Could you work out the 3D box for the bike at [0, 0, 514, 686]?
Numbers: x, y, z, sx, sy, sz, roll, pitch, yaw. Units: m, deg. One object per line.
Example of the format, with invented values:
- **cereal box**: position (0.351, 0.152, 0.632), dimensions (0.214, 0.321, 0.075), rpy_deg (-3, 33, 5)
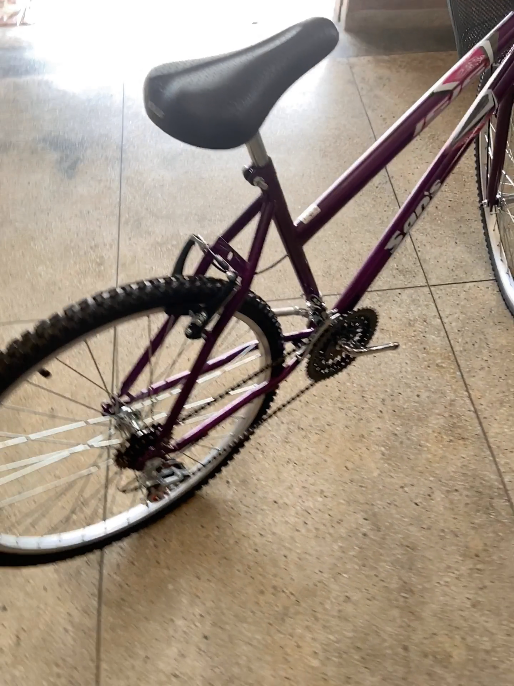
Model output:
- **bike**: position (0.069, -0.264, 0.903), dimensions (0.573, 1.036, 1.525), rpy_deg (39, 66, 23)
